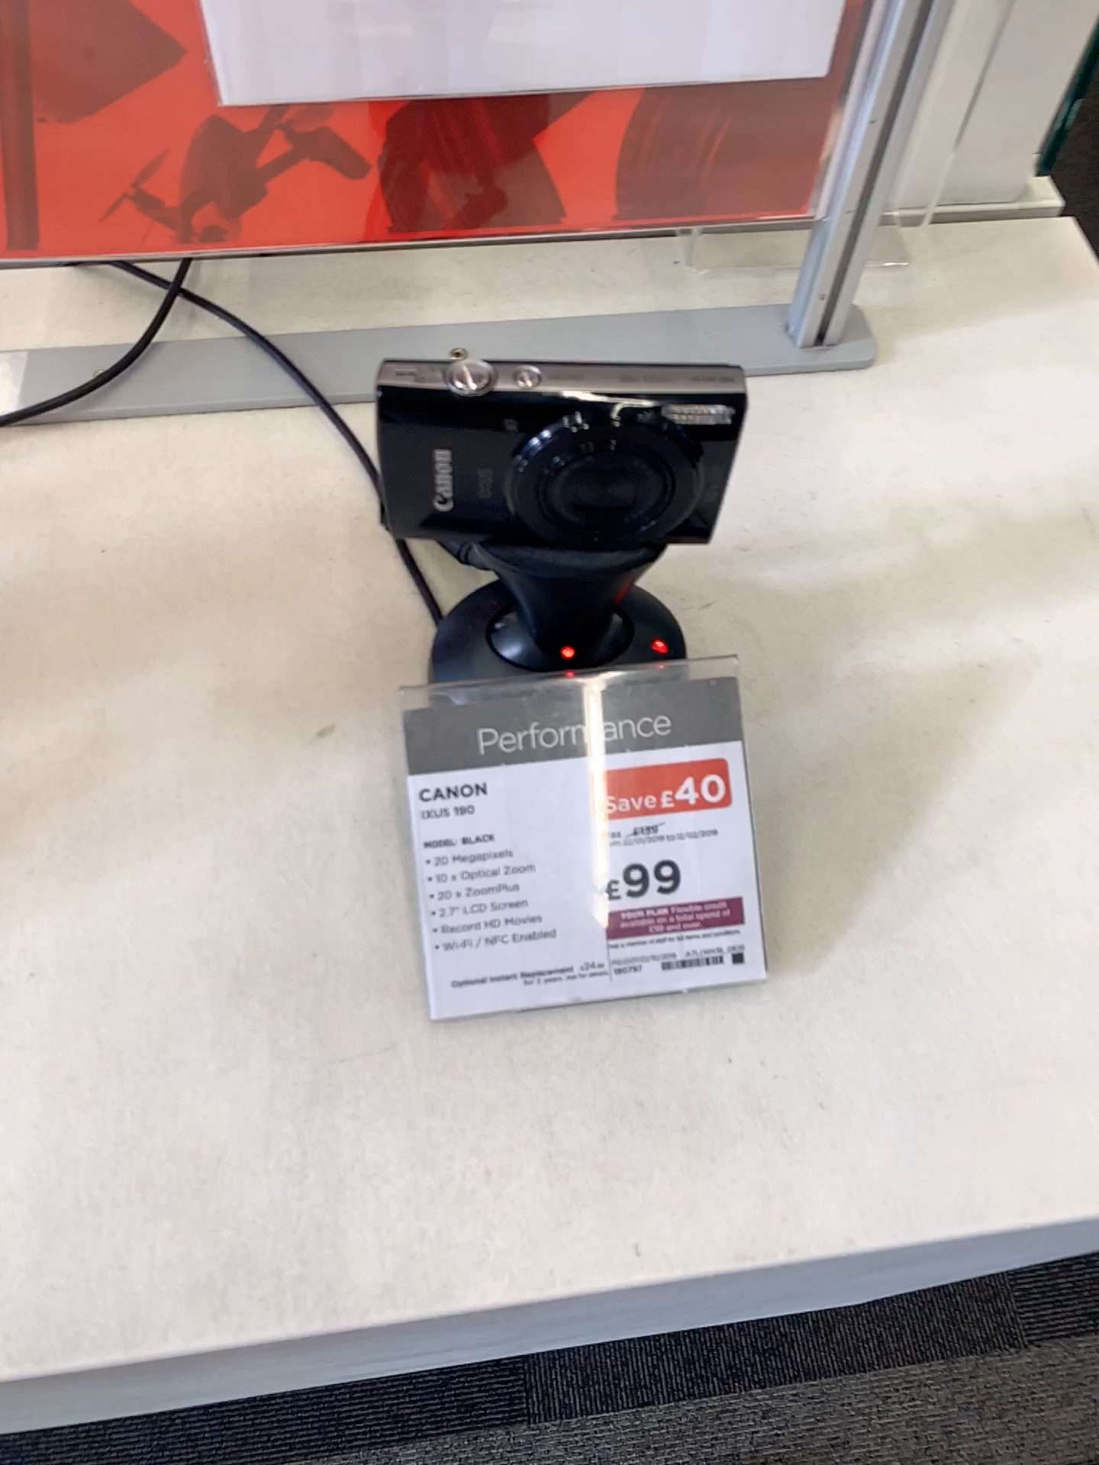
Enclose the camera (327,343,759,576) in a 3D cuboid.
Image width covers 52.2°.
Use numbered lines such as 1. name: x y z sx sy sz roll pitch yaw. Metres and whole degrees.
1. camera: -0.002 -0.069 0.289 0.100 0.050 0.030 1 60 -2
